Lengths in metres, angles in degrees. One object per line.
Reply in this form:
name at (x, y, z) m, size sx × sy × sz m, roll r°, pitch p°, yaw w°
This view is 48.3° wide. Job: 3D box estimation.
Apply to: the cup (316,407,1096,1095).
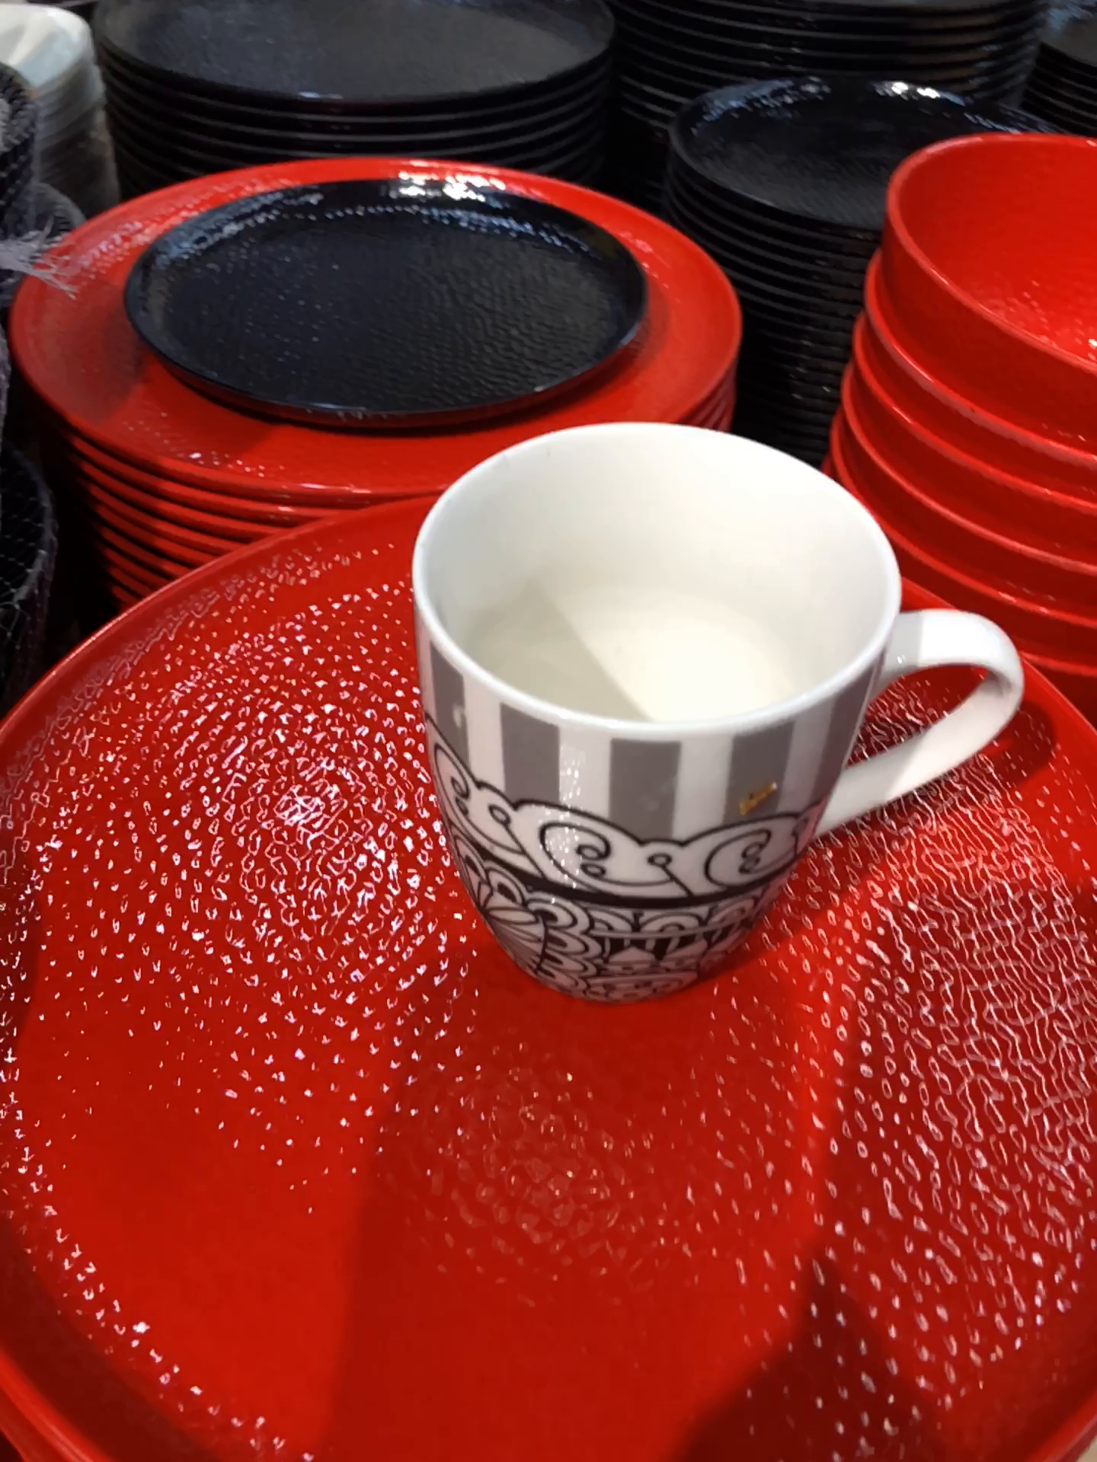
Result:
cup at (0.026, 0.005, 0.229) m, size 0.120 × 0.099 × 0.081 m, roll 0°, pitch 44°, yaw -3°
